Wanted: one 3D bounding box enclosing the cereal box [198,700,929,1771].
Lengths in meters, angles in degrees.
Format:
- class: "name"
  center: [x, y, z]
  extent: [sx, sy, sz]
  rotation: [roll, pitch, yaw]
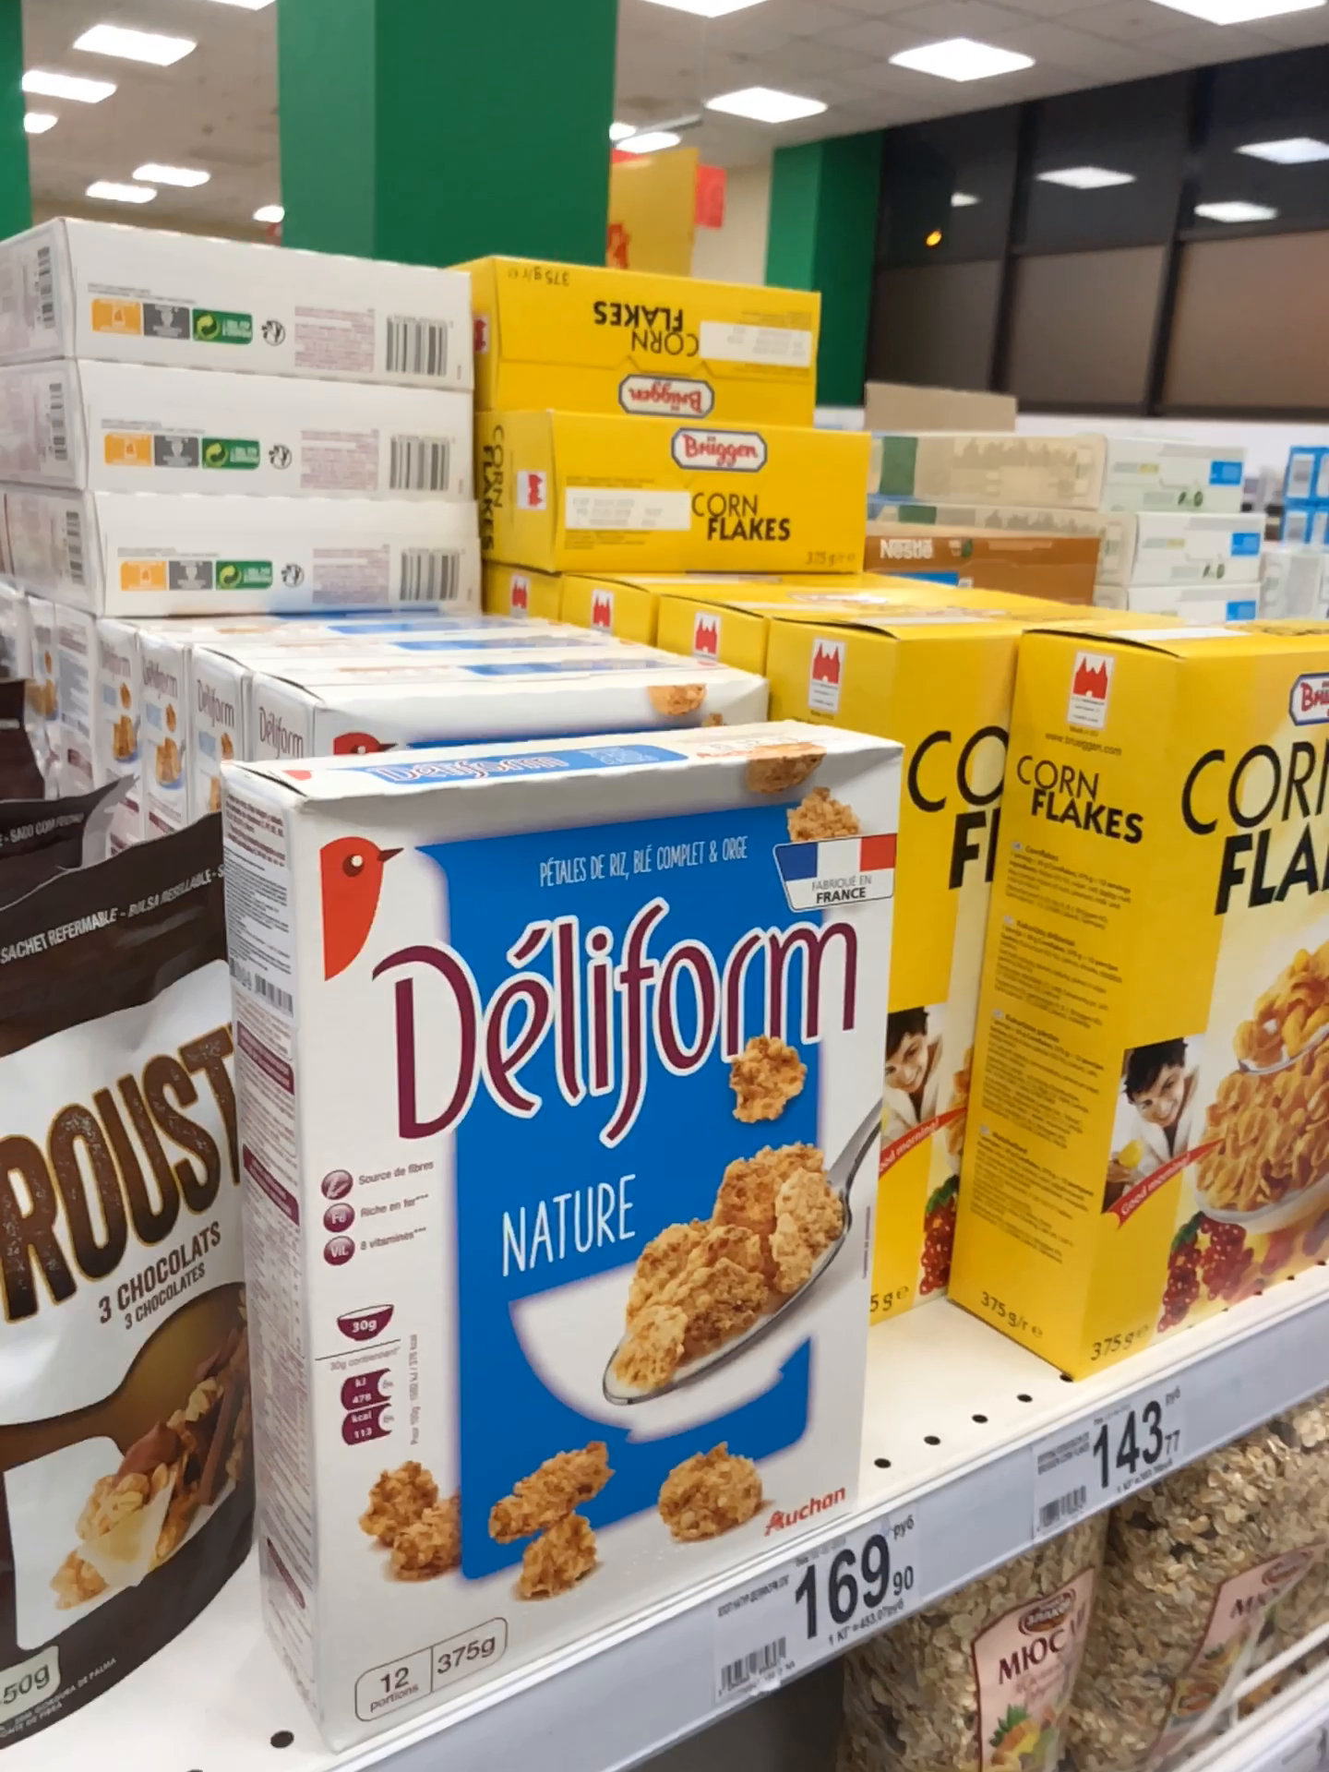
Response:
- class: "cereal box"
  center: [-0.024, 0.088, 0.440]
  extent: [0.200, 0.269, 0.060]
  rotation: [-8, 17, -34]
